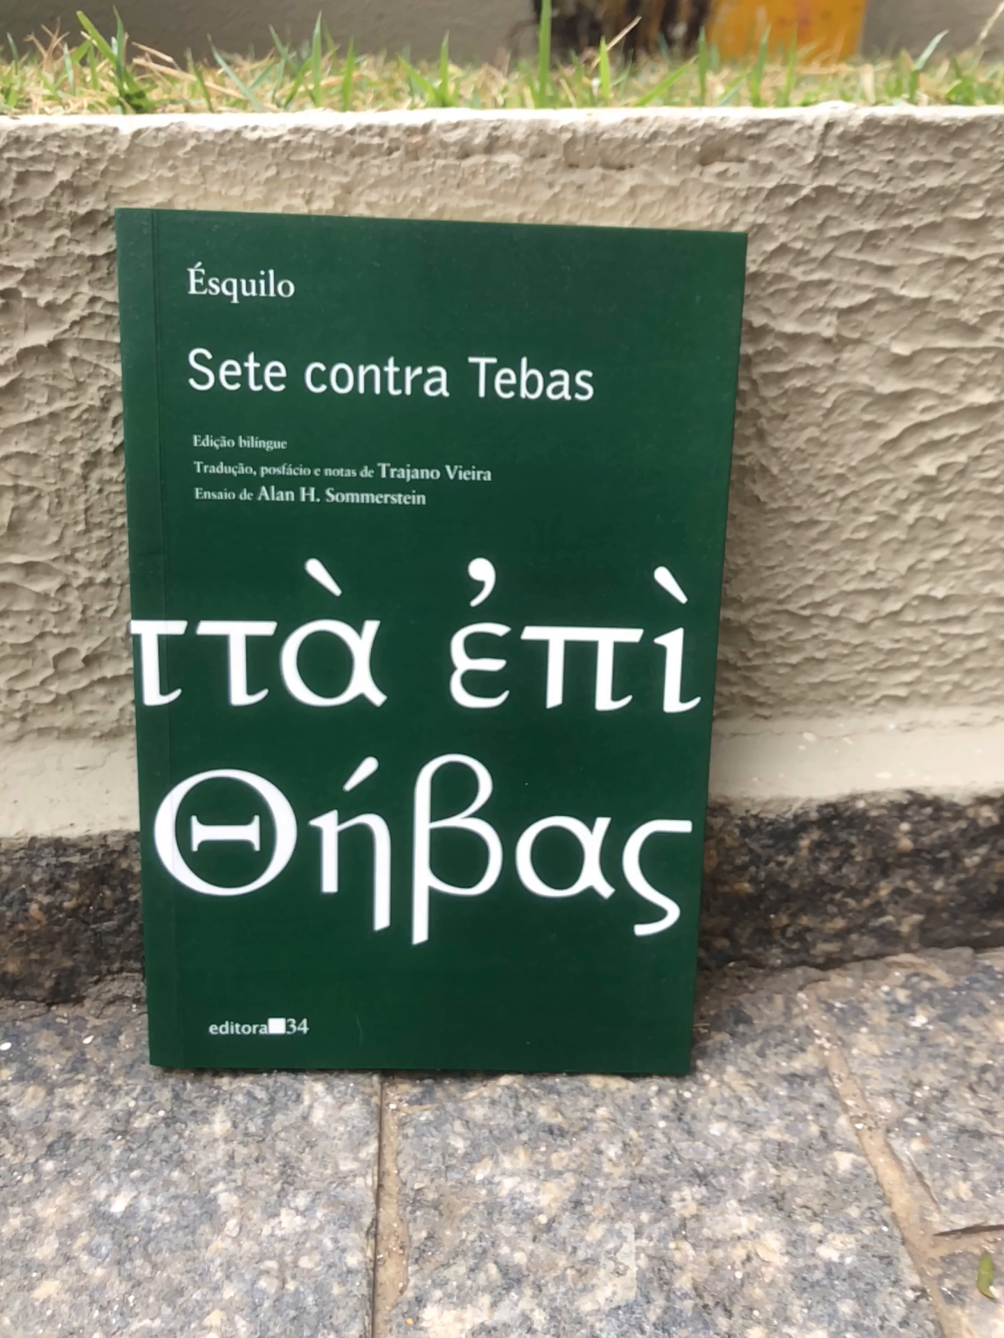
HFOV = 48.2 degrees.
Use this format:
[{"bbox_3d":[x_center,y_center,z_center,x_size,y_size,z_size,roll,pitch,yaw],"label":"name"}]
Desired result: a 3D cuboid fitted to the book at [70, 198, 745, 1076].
[{"bbox_3d":[-0.019,-0.002,0.259,0.140,0.196,0.020,0,10,1],"label":"book"}]
